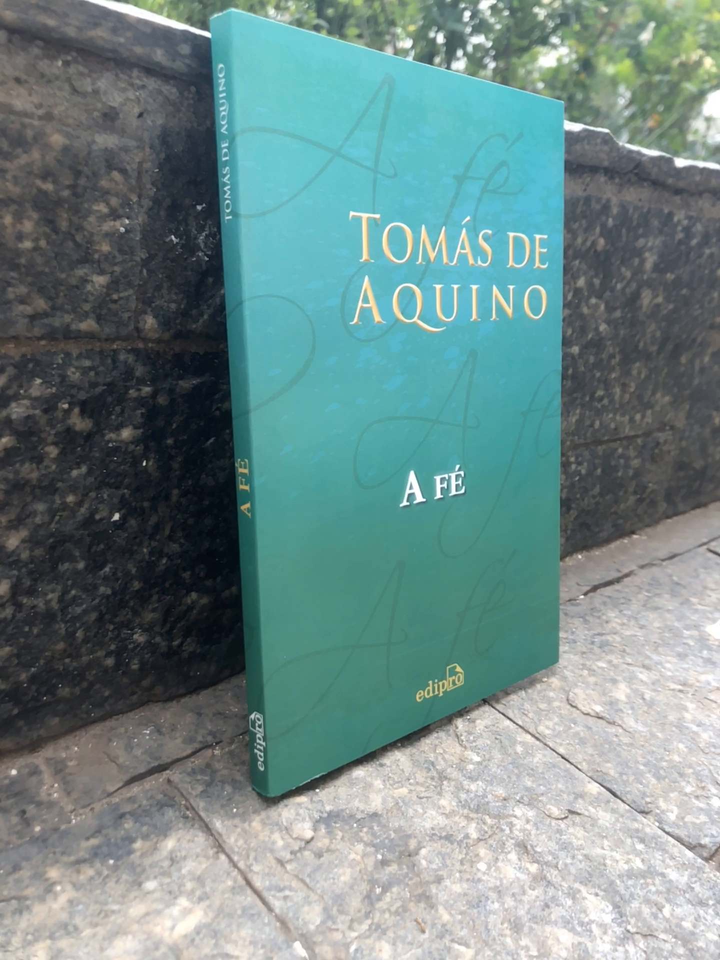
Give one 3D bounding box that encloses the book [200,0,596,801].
[{"bbox_3d":[0.021,-0.023,0.250,0.143,0.199,0.020,-9,13,-41],"label":"book"}]
